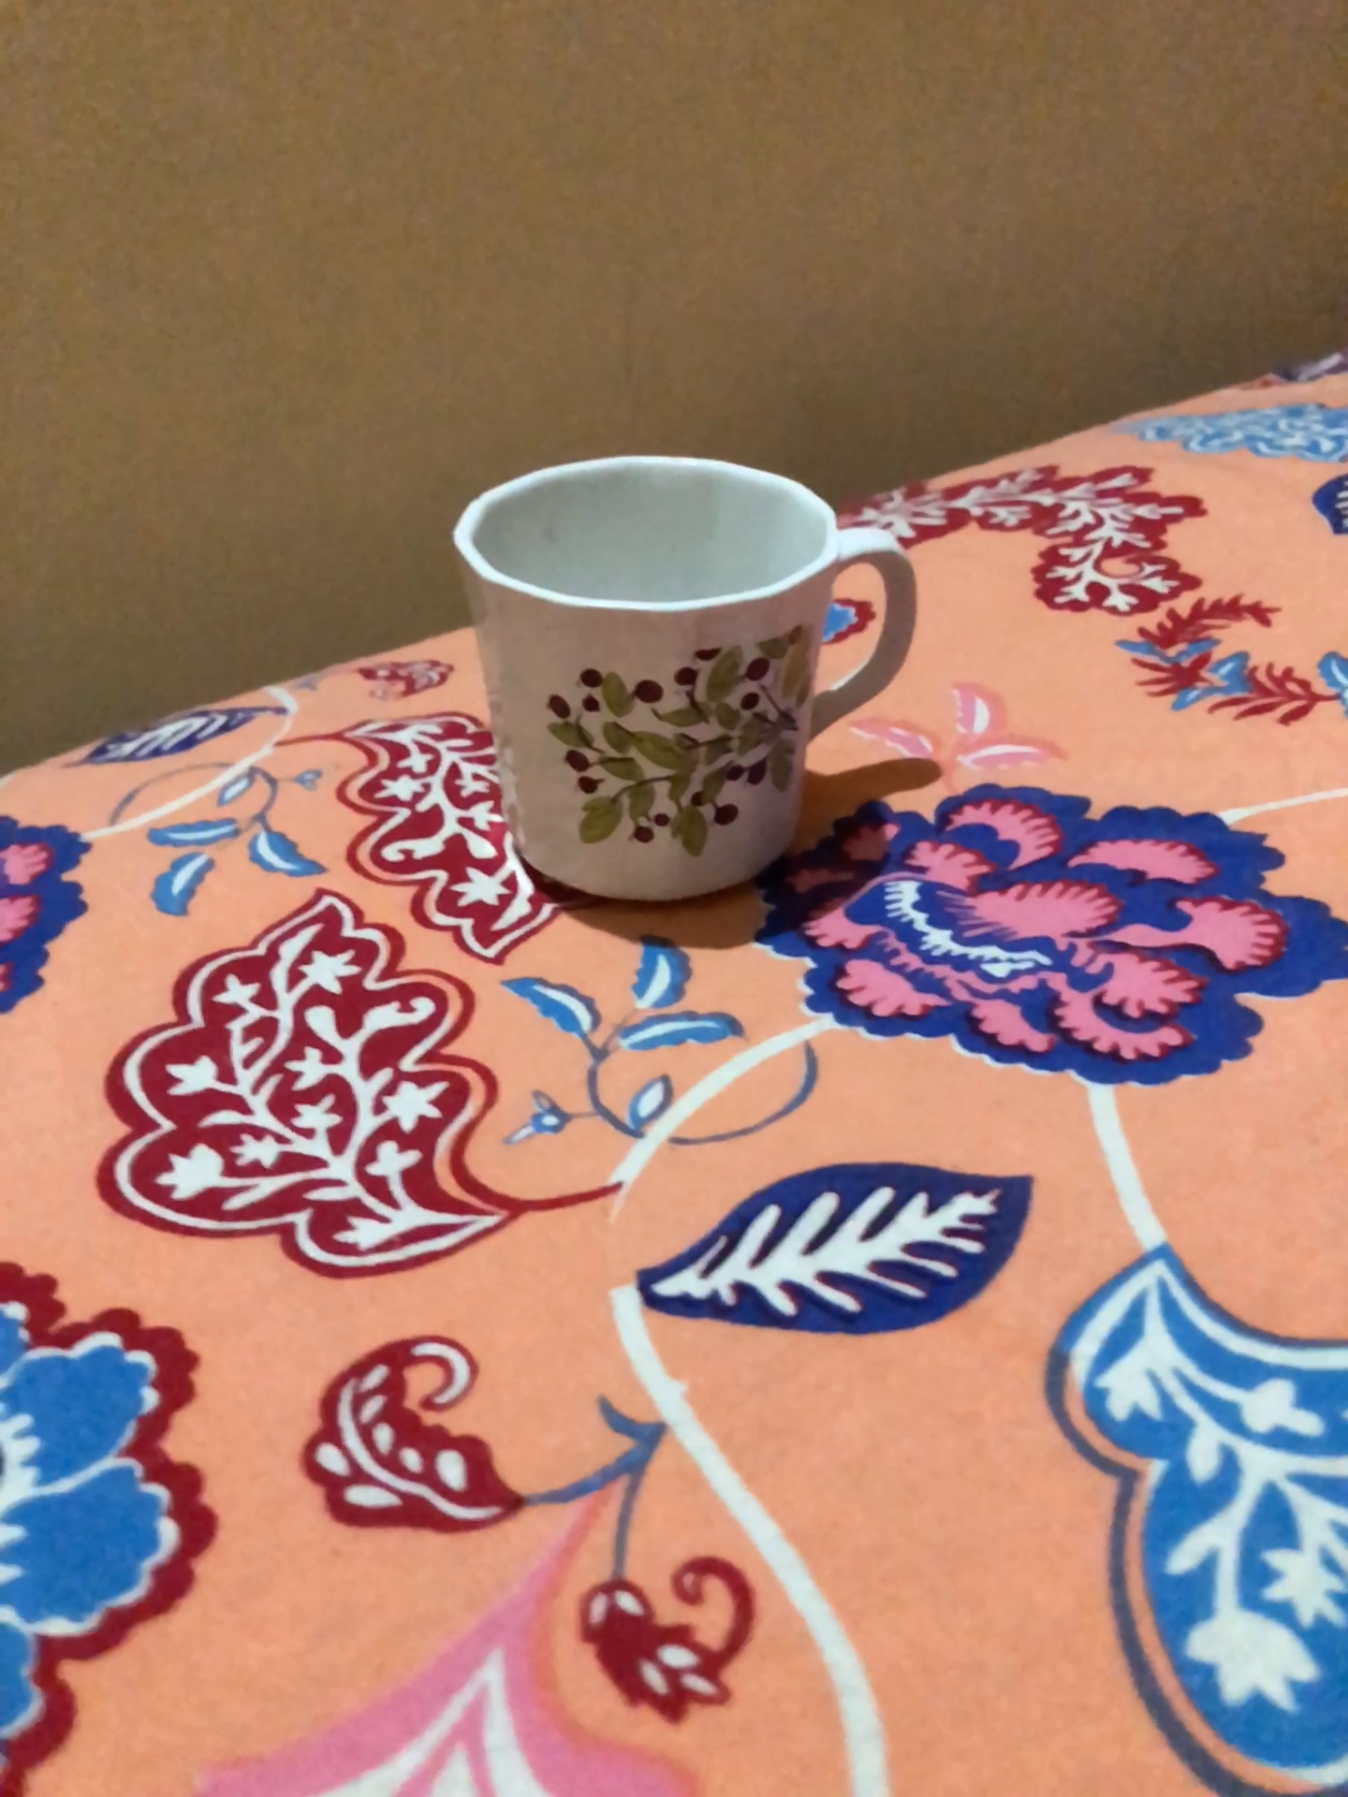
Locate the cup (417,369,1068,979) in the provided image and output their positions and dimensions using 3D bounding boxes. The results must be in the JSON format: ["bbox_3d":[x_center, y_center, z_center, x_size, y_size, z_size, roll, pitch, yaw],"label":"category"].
[{"bbox_3d":[0.010,-0.042,0.264,0.090,0.069,0.060,-14,39,-13],"label":"cup"}]
